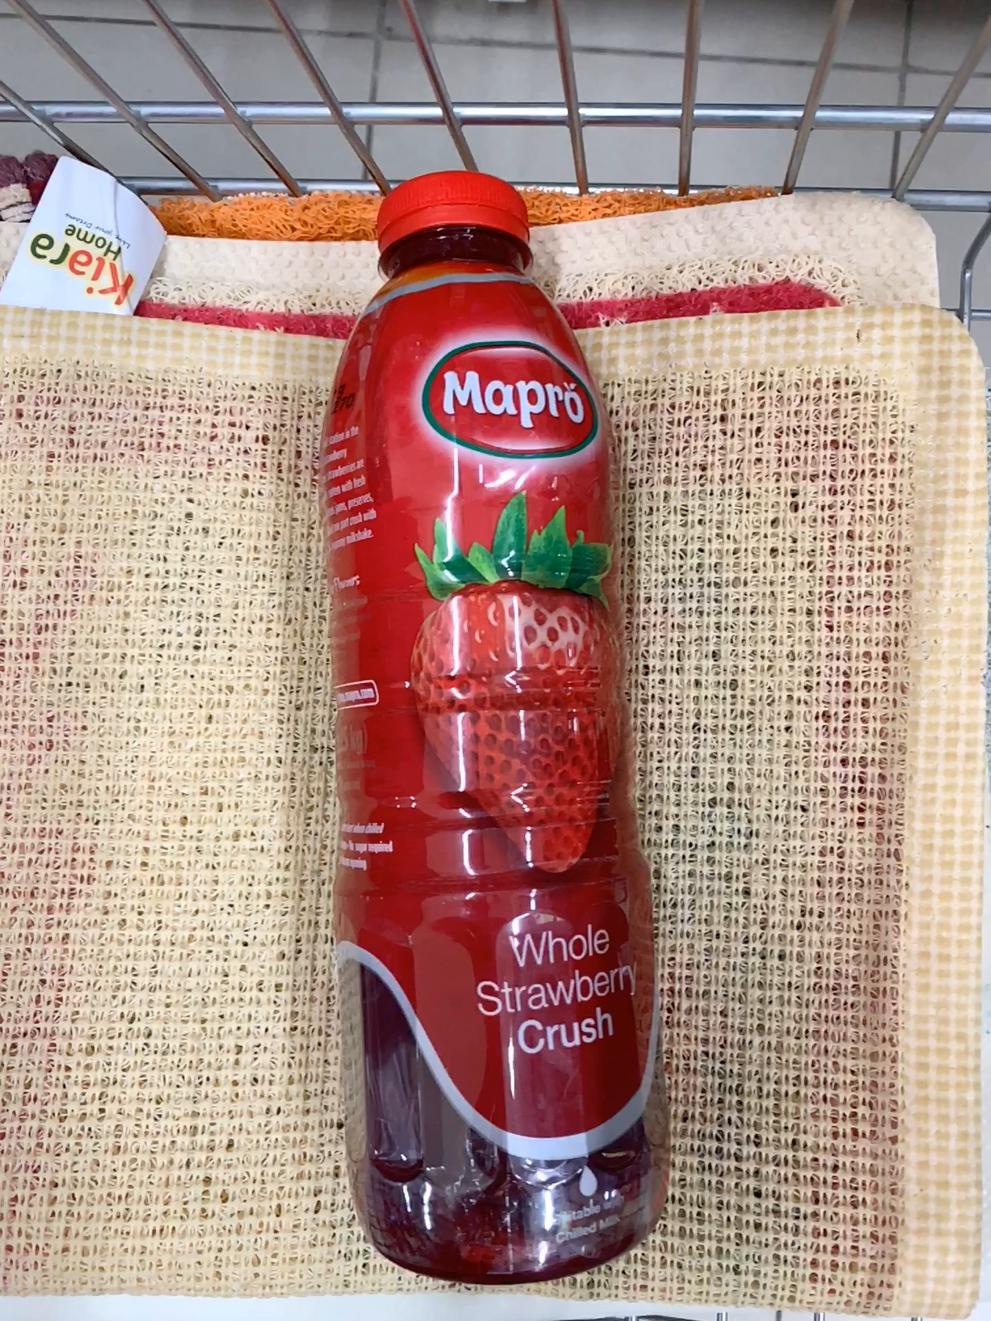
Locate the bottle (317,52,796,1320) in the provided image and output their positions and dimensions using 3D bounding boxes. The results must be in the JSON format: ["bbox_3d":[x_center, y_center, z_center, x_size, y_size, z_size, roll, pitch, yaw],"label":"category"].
[{"bbox_3d":[0.011,0.006,0.248,0.090,0.070,0.250,0,89,-23],"label":"bottle"}]
